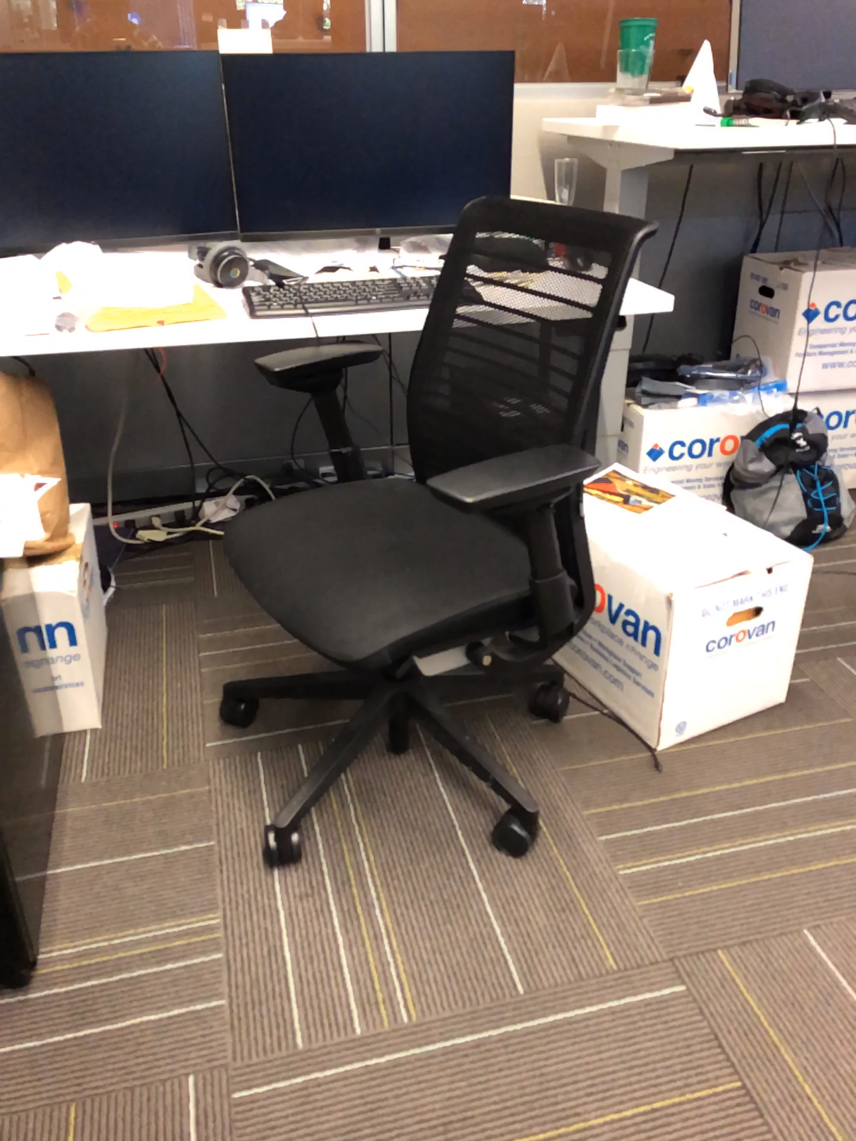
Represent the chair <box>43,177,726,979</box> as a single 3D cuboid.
[{"bbox_3d":[-0.105,-0.087,1.588,0.701,0.995,0.783,-17,32,-29],"label":"chair"}]
